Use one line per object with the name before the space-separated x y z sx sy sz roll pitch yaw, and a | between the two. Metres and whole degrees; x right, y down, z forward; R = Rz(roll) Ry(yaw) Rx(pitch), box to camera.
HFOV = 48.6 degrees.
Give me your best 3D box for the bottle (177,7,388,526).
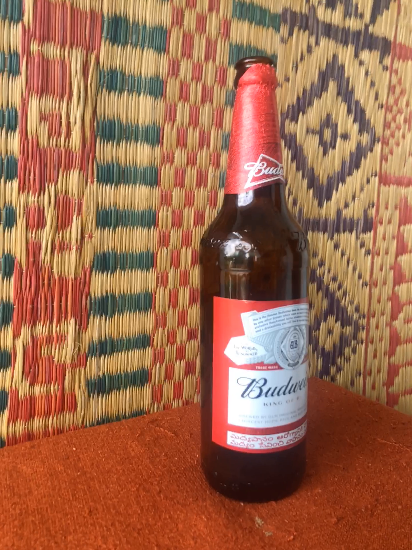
bottle | 0.042 -0.002 0.280 0.090 0.259 0.070 -3 9 -33
